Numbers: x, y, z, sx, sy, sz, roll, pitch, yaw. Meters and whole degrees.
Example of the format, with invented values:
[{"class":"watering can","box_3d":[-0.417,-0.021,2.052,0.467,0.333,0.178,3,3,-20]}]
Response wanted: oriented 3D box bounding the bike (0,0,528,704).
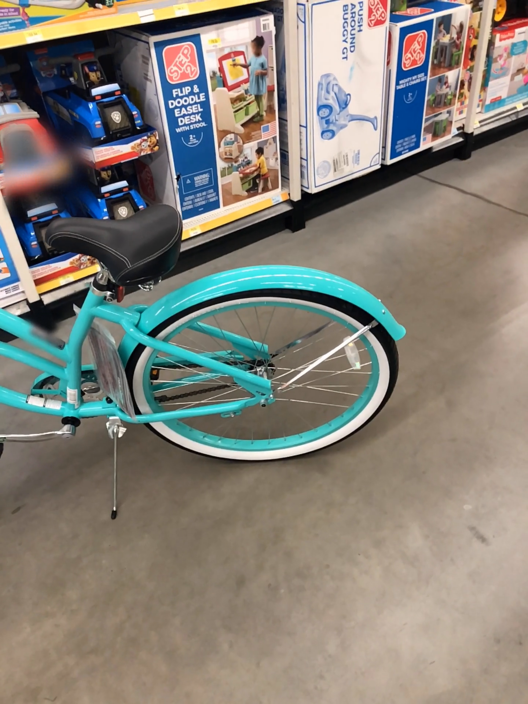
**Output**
[{"class":"bike","box_3d":[-0.505,0.051,1.087,1.491,1.144,0.762,-13,39,-5]}]
